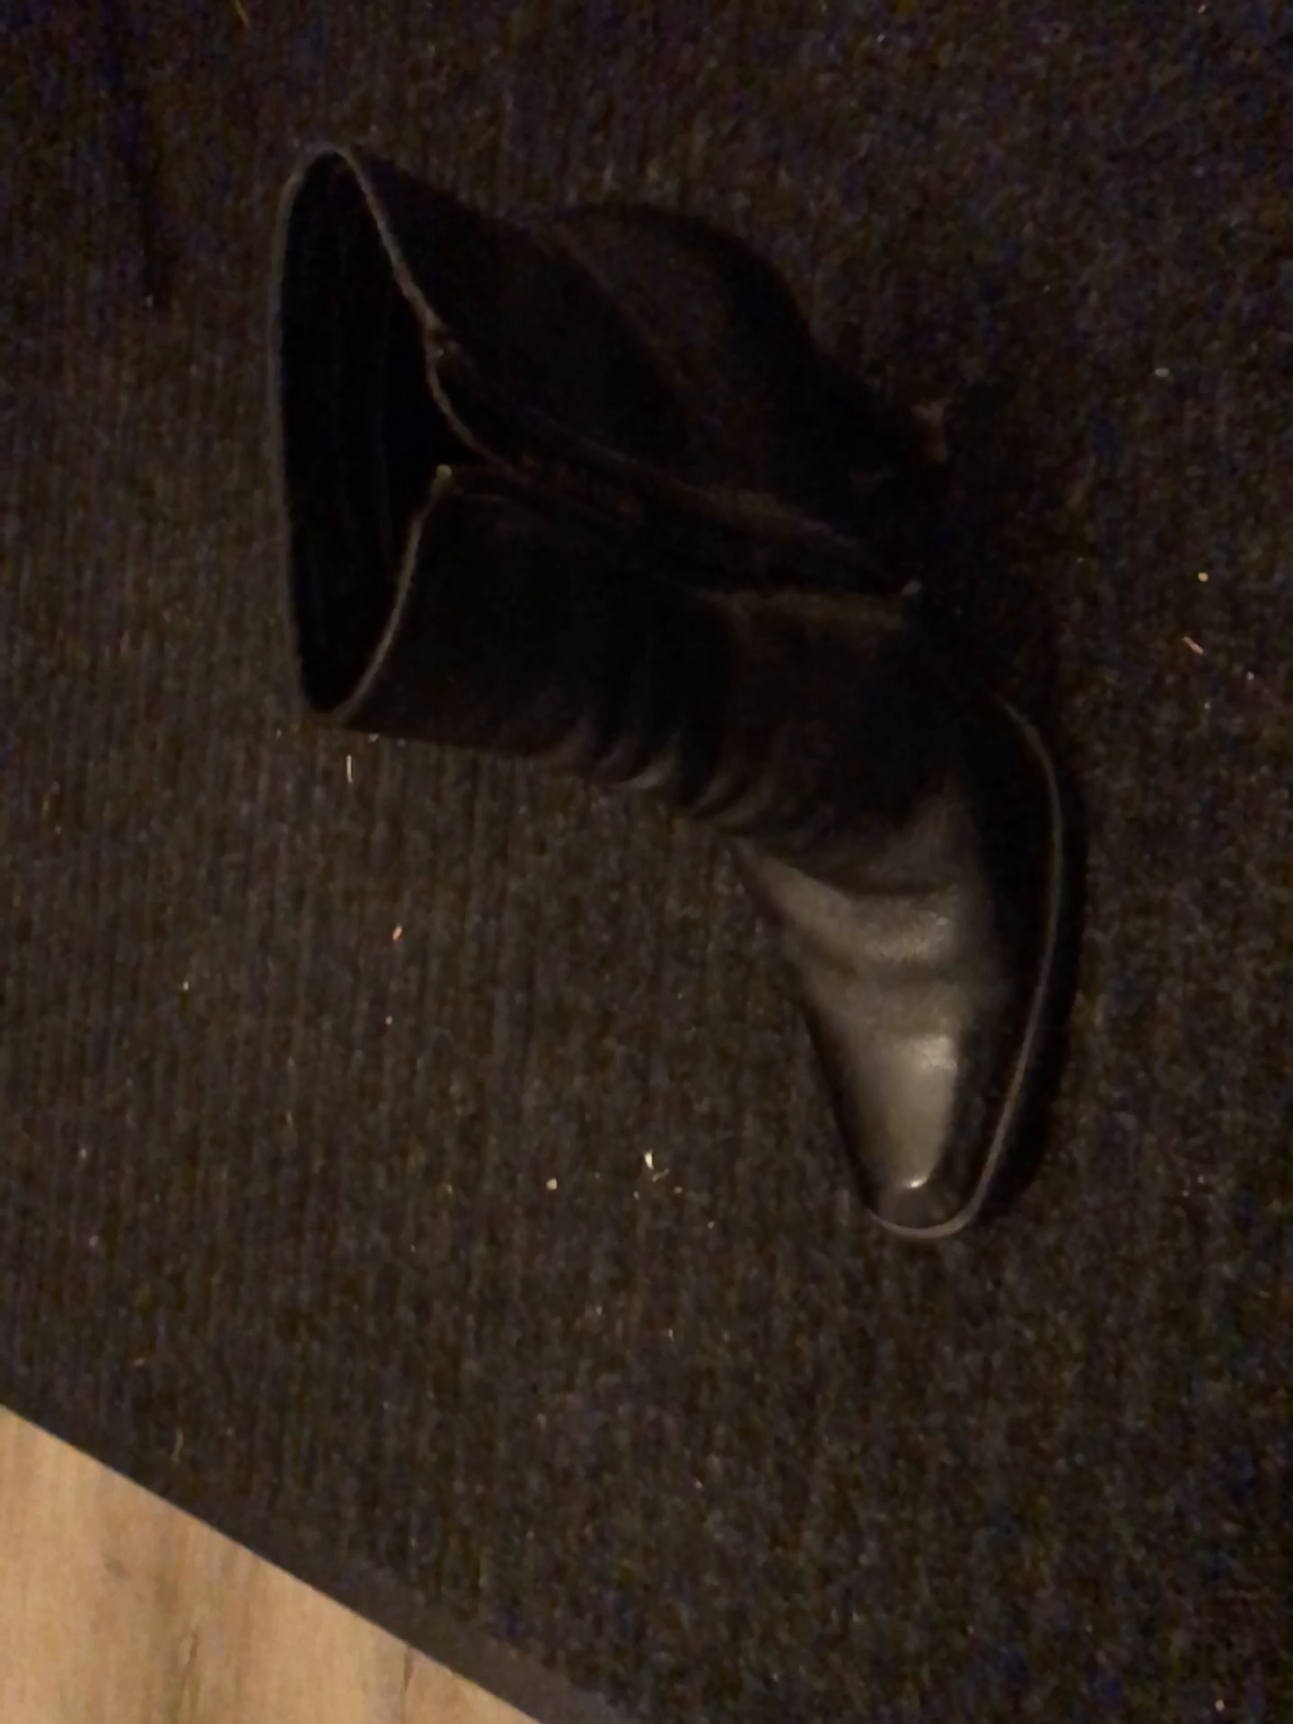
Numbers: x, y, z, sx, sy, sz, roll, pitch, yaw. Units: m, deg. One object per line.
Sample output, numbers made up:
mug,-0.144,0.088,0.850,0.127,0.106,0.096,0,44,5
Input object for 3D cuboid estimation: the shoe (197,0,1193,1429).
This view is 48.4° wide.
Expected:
shoe,0.025,-0.038,0.301,0.090,0.209,0.240,-8,82,36
